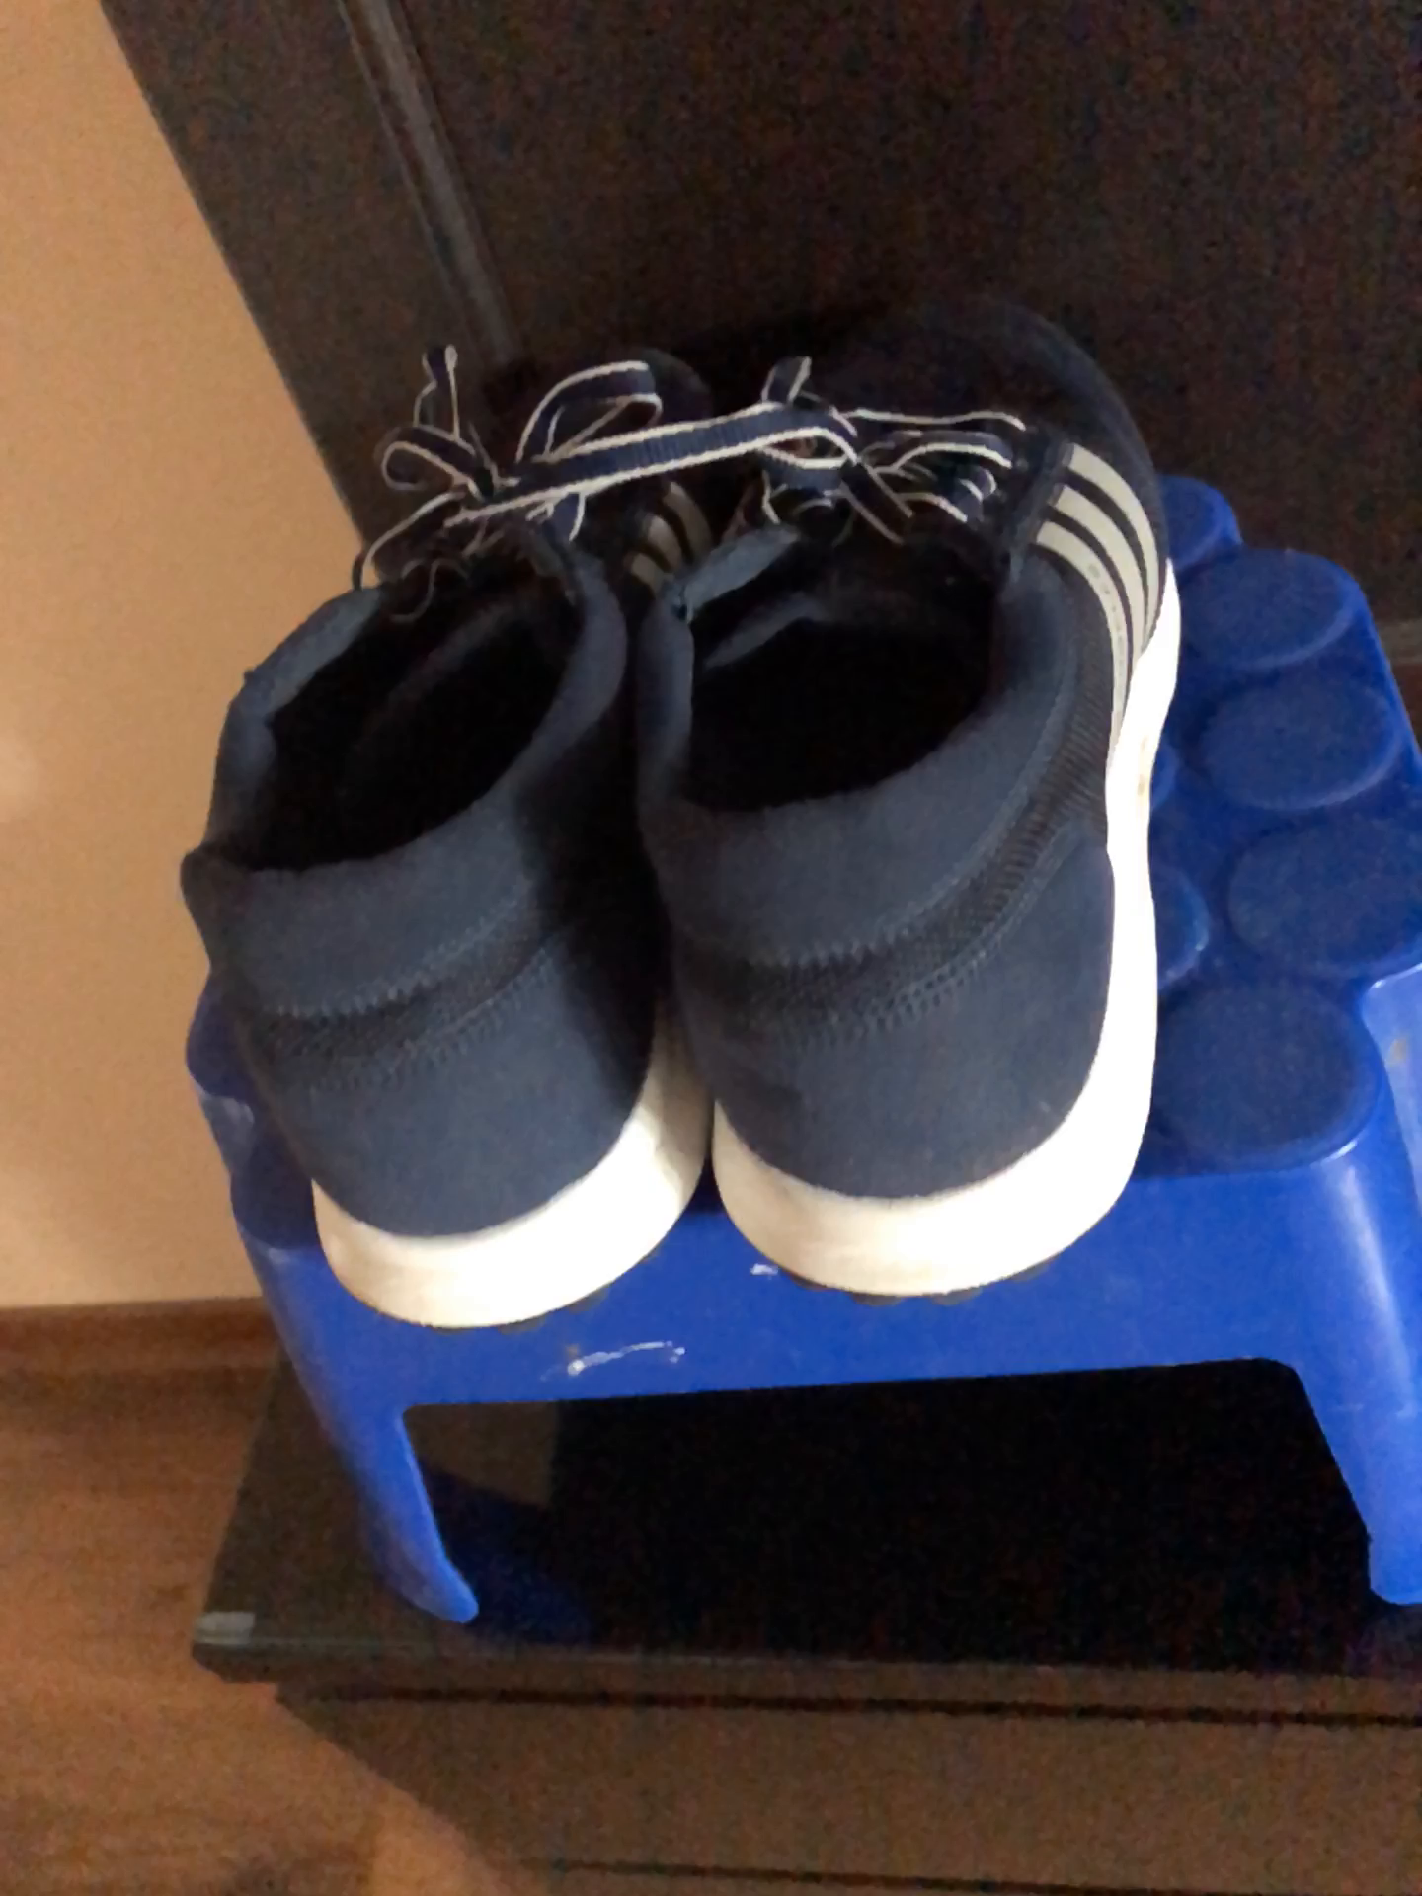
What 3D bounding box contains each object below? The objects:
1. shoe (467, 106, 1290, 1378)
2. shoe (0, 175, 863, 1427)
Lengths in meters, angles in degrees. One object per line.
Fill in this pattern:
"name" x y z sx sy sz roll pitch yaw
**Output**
"shoe" 0.043 -0.057 0.335 0.110 0.109 0.261 -6 47 14
"shoe" -0.035 -0.047 0.346 0.110 0.109 0.261 -8 47 12
